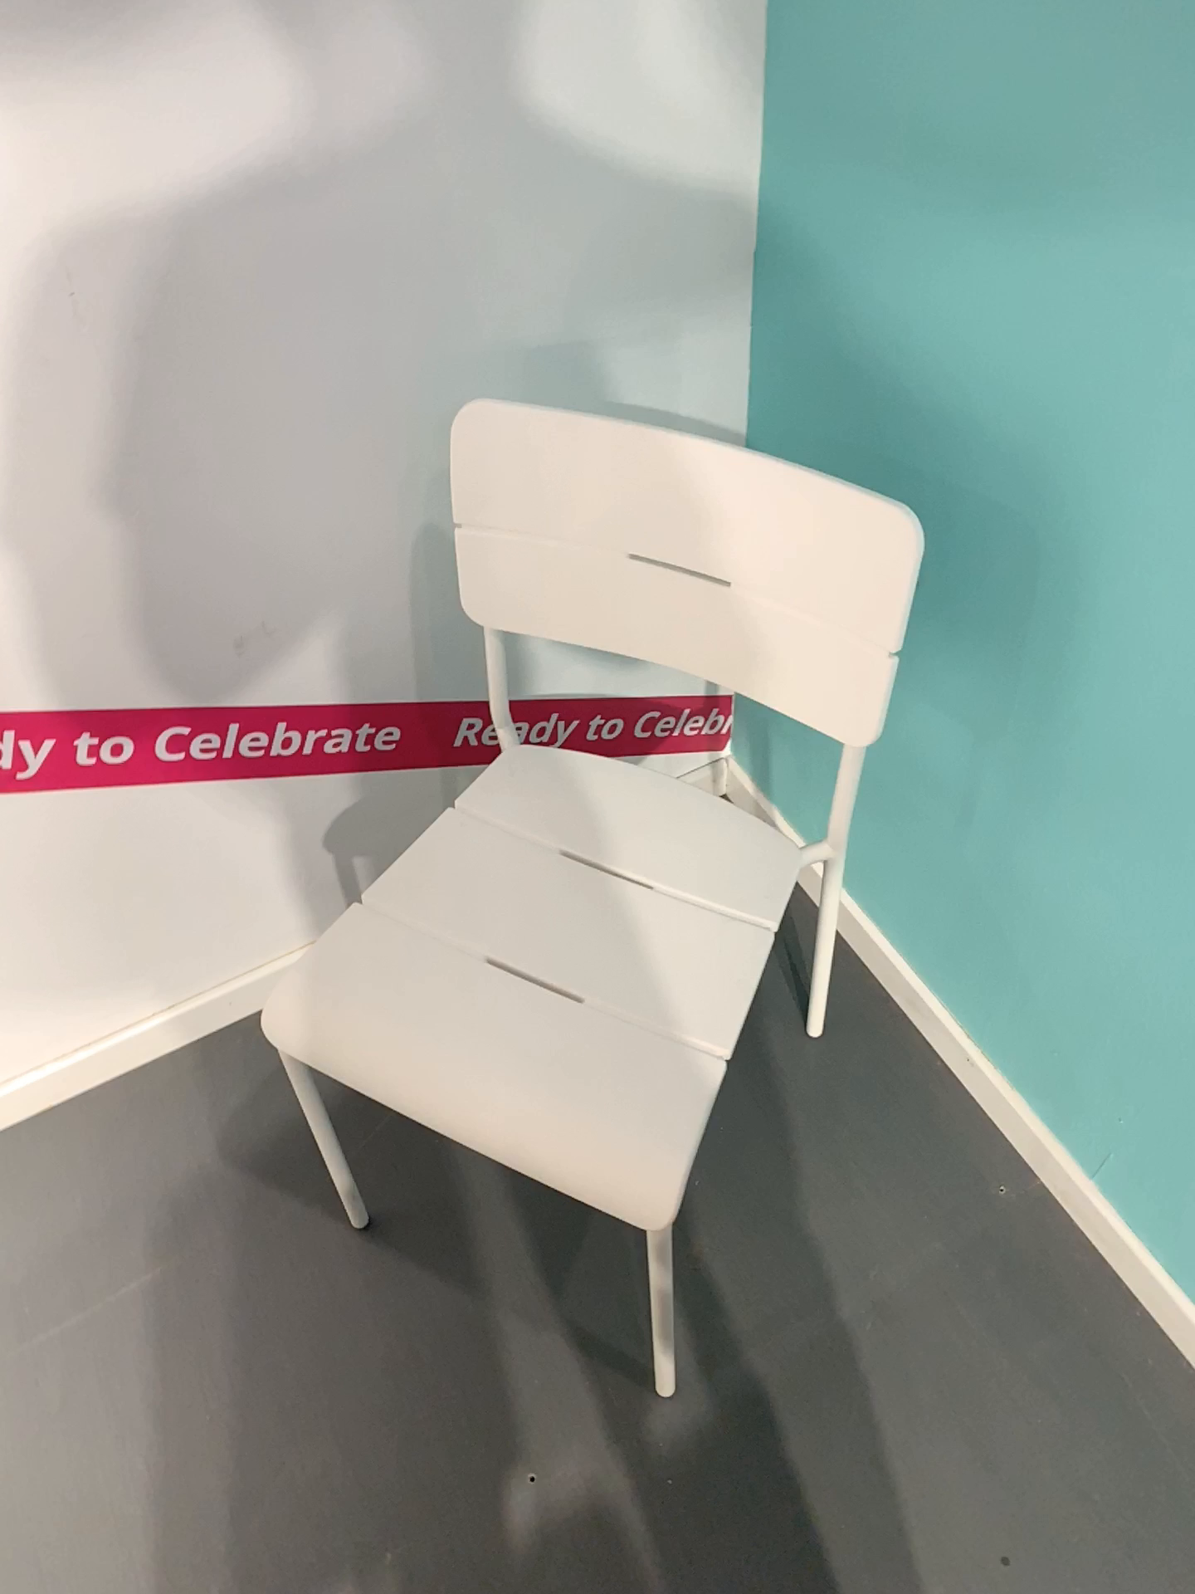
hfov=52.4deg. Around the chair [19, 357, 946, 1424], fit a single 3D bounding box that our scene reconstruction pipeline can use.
[{"bbox_3d":[-0.033,0.131,1.091,0.431,0.808,0.451,20,54,20],"label":"chair"}]
